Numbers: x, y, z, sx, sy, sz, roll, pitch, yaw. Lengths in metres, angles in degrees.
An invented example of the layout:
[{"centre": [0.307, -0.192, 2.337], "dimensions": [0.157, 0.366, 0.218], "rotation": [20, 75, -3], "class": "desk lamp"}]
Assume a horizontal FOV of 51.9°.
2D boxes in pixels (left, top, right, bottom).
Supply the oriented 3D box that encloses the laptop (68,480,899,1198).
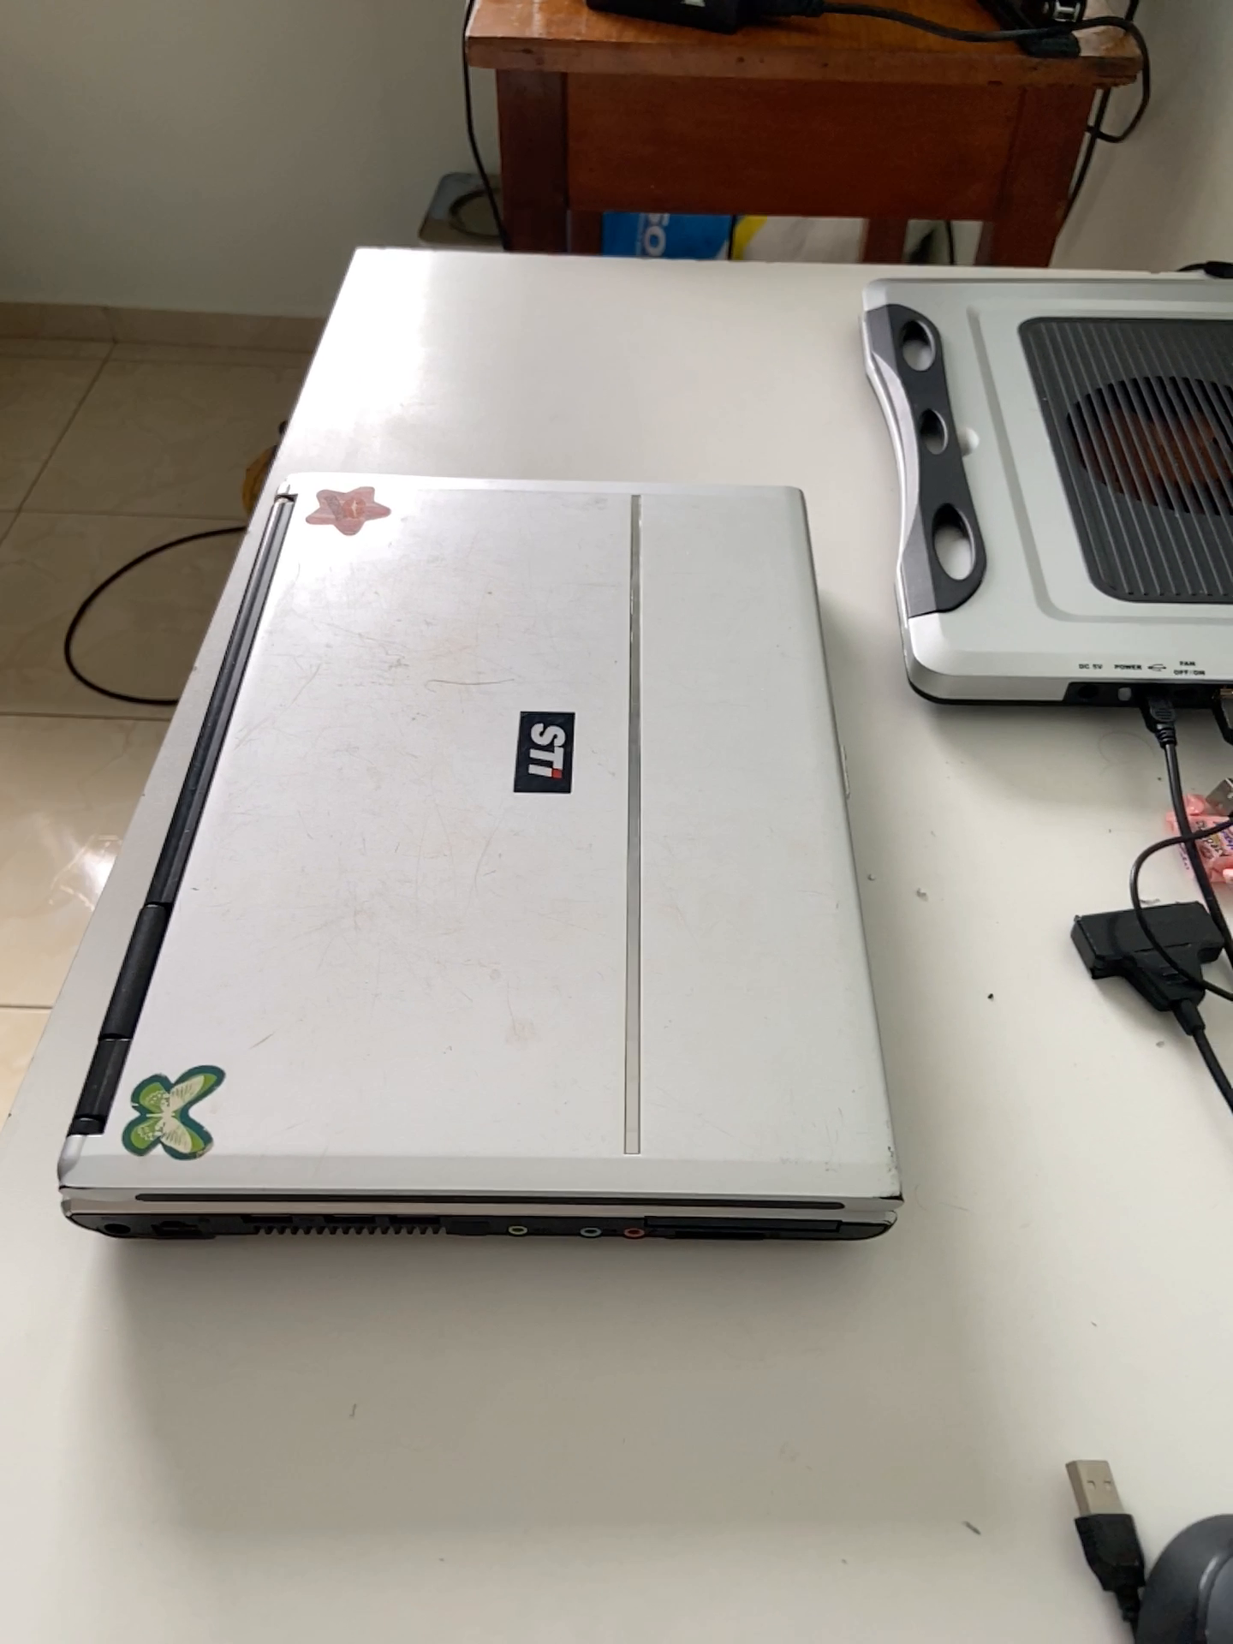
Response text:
[{"centre": [-0.032, -0.024, 0.469], "dimensions": [0.234, 0.004, 0.340], "rotation": [1, 49, 0], "class": "laptop"}]
